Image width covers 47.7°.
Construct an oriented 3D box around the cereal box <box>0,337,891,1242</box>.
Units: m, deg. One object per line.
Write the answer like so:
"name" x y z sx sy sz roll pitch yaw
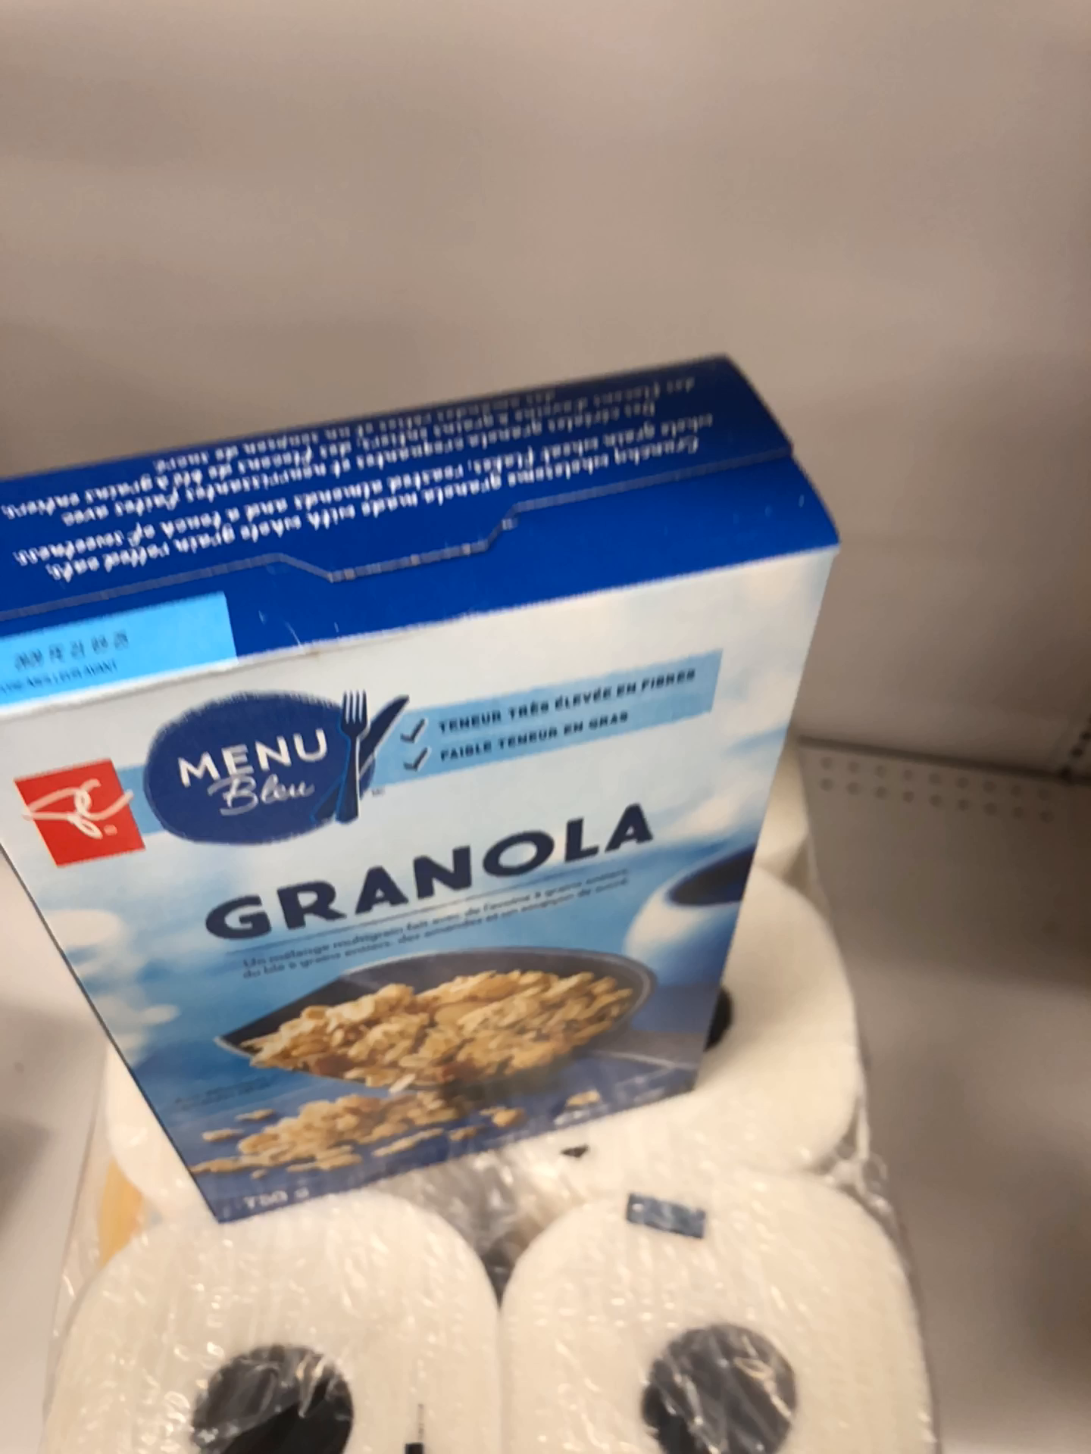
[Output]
"cereal box" -0.028 0.037 0.303 0.160 0.239 0.060 -11 51 -10
